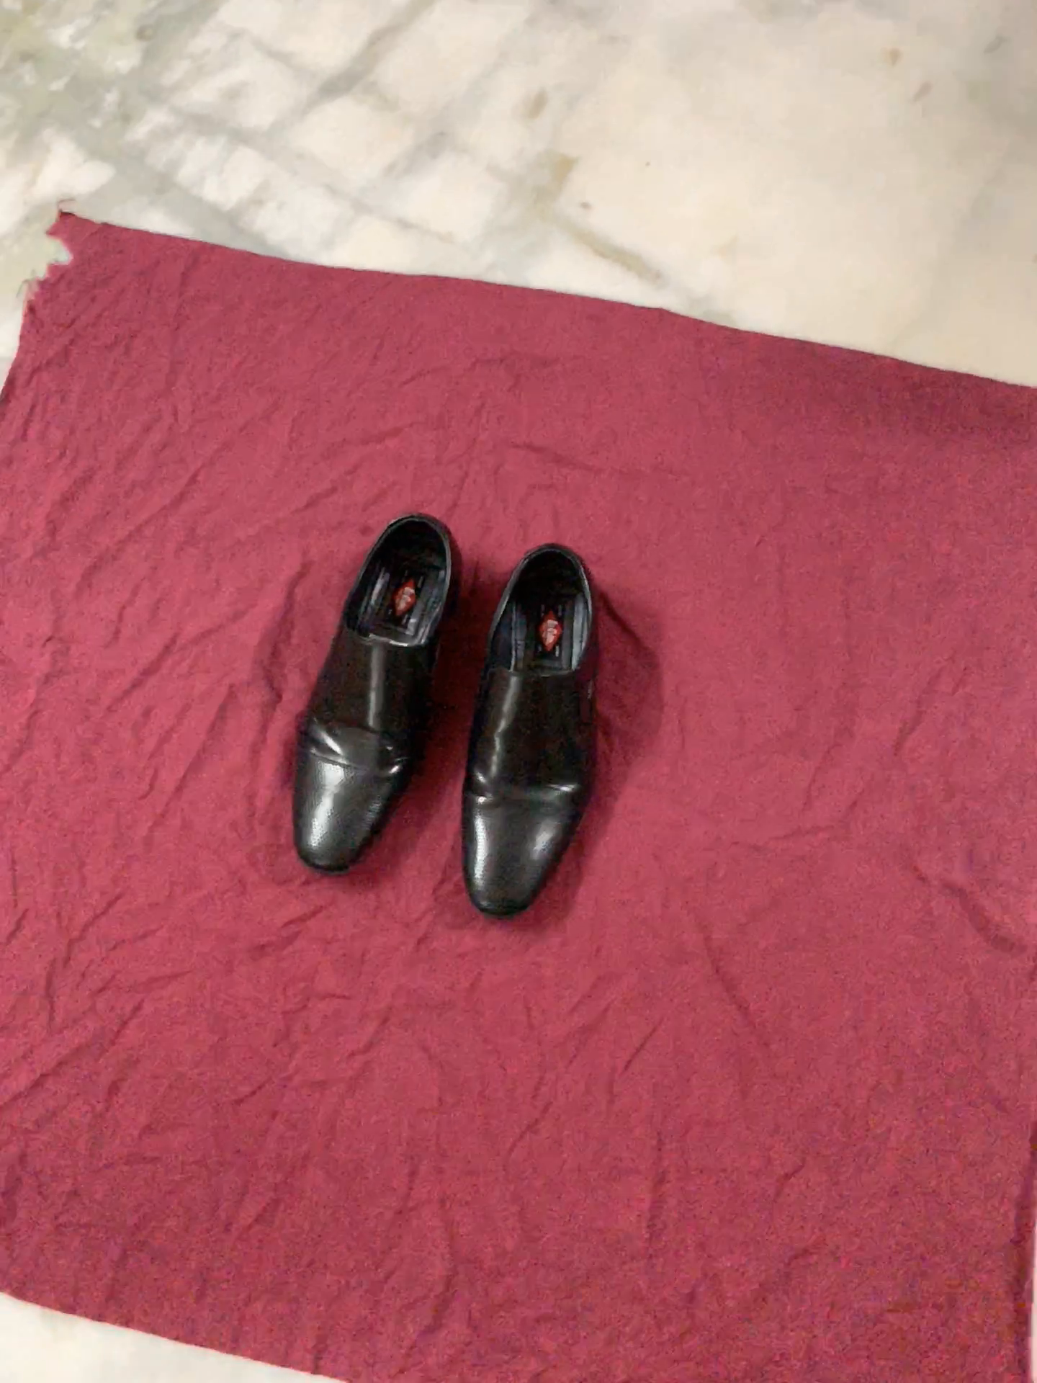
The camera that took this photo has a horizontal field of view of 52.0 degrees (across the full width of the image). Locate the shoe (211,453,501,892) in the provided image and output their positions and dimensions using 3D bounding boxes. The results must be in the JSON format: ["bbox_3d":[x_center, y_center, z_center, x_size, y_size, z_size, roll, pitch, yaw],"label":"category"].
[{"bbox_3d":[-0.110,-0.017,0.802,0.100,0.100,0.301,17,70,8],"label":"shoe"}]

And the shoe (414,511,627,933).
[{"bbox_3d":[0.007,0.021,0.803,0.100,0.100,0.291,10,69,5],"label":"shoe"}]
